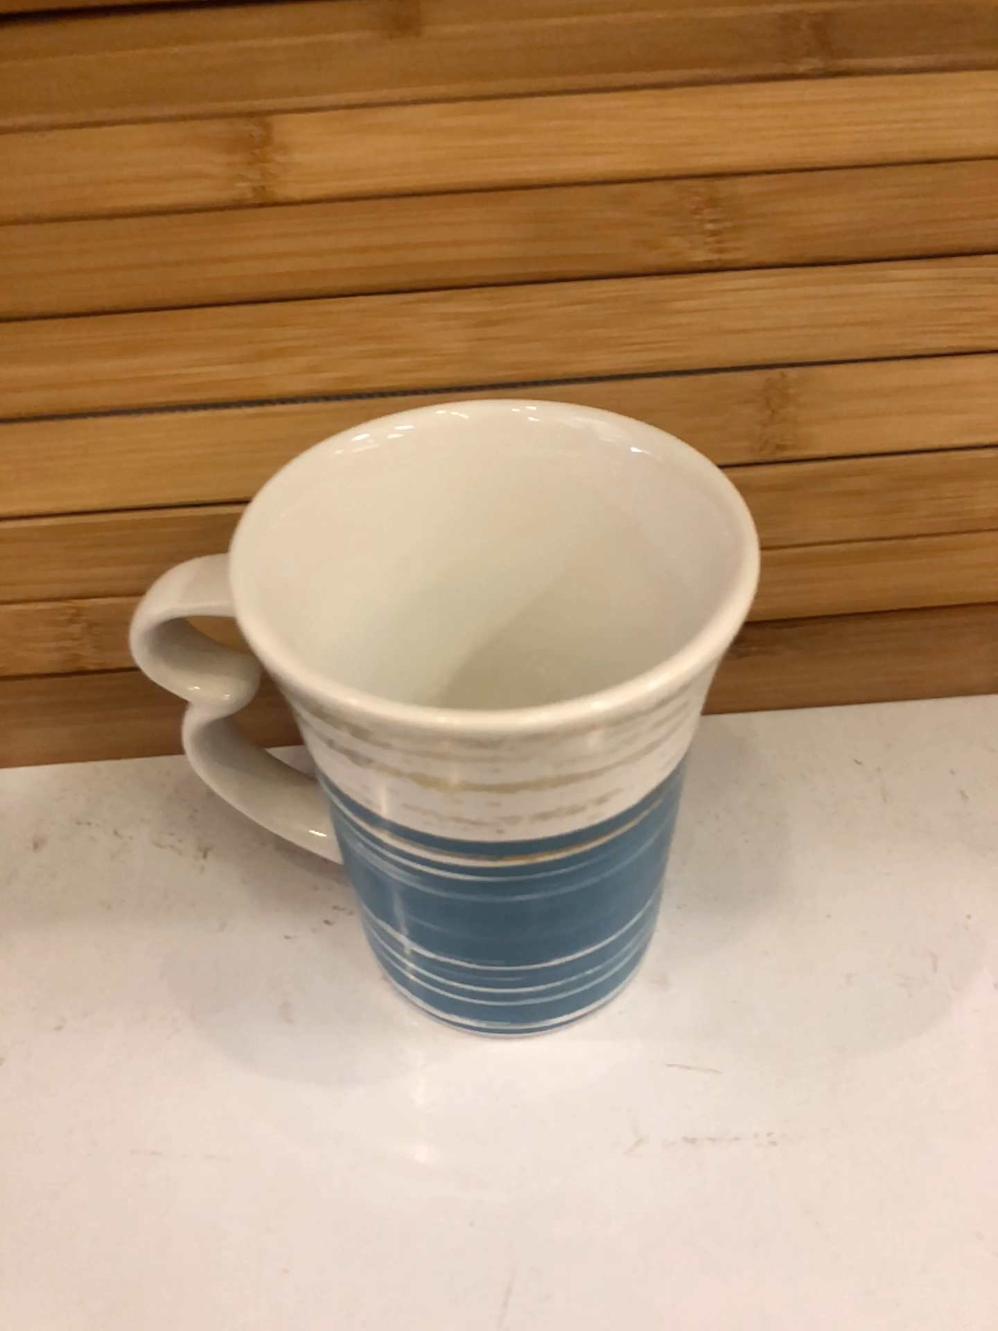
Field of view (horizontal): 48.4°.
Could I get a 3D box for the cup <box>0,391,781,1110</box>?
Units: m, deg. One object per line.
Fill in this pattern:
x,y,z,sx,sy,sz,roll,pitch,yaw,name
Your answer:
-0.017,0.013,0.209,0.120,0.089,0.091,3,44,7,cup
